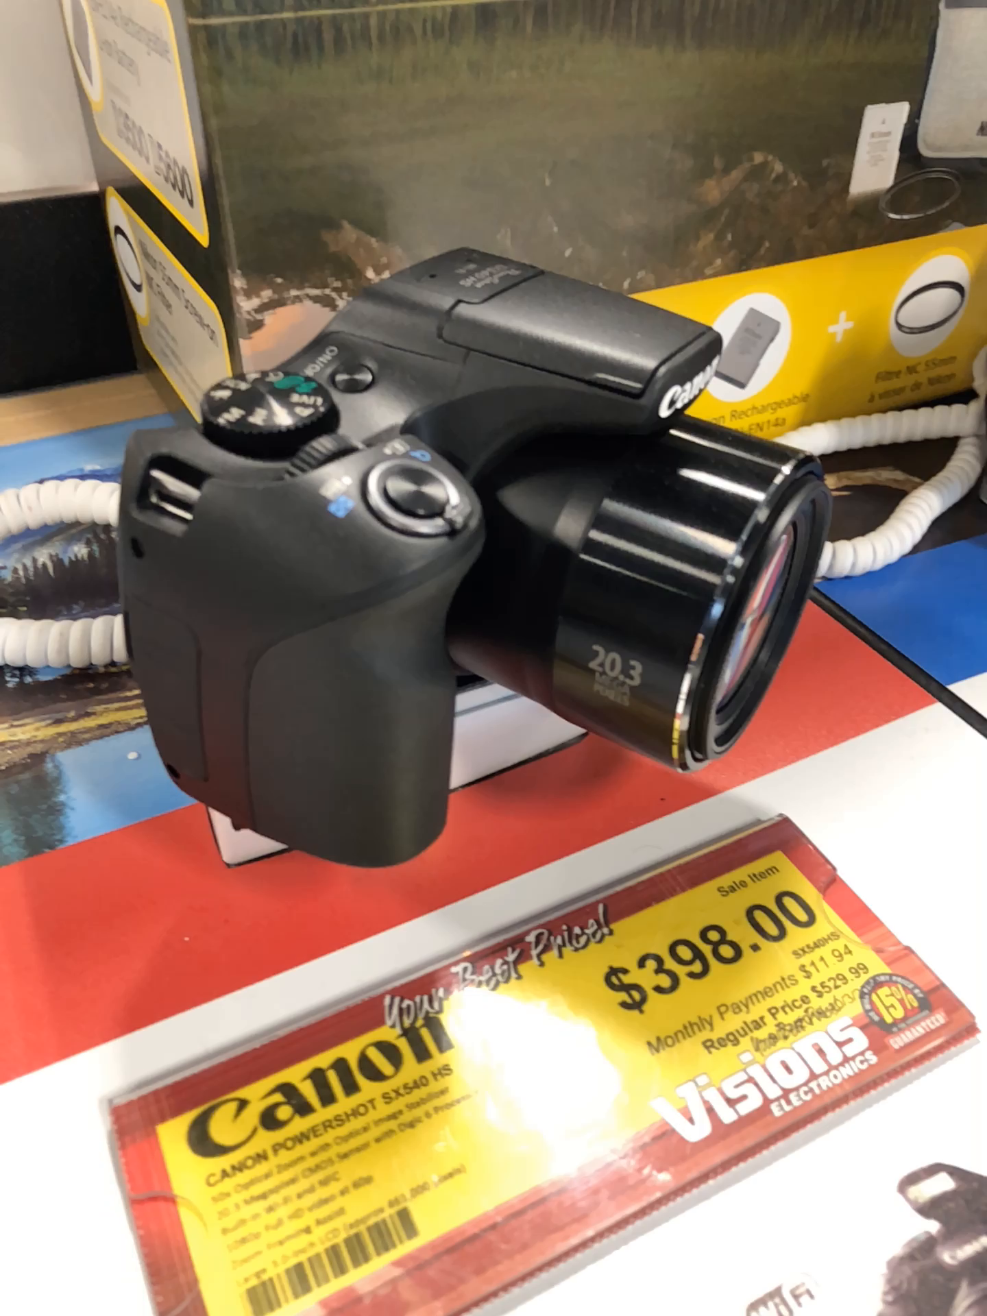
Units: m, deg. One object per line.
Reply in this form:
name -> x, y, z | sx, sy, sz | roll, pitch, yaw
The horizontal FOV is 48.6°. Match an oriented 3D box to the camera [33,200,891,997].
camera -> 0.002, -0.024, 0.208 | 0.090, 0.079, 0.120 | 24, 44, 28
